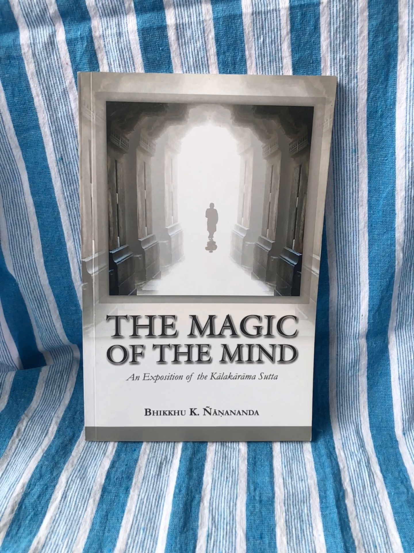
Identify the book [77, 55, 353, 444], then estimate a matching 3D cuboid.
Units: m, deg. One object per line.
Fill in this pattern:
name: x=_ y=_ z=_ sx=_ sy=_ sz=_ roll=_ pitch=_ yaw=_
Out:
book: x=0.002 y=-0.008 z=0.269 sx=0.150 sy=0.220 sz=0.010 roll=1 pitch=8 yaw=-3
